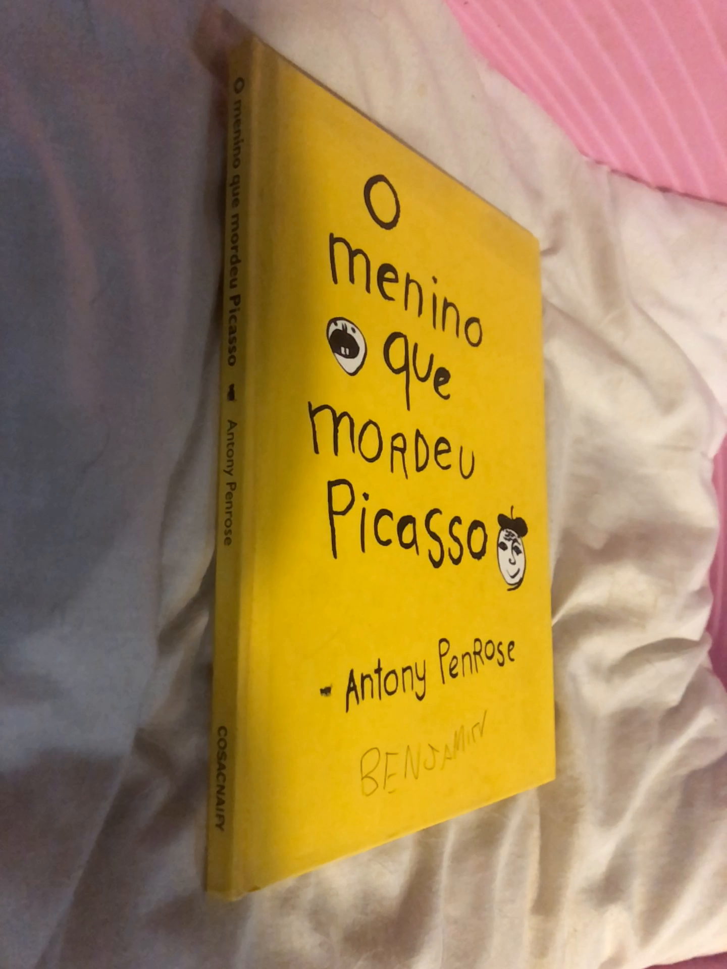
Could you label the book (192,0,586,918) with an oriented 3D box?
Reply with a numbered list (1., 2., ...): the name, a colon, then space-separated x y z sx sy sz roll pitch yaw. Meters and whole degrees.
1. book: 0.025 -0.006 0.283 0.181 0.024 0.240 10 77 -50
